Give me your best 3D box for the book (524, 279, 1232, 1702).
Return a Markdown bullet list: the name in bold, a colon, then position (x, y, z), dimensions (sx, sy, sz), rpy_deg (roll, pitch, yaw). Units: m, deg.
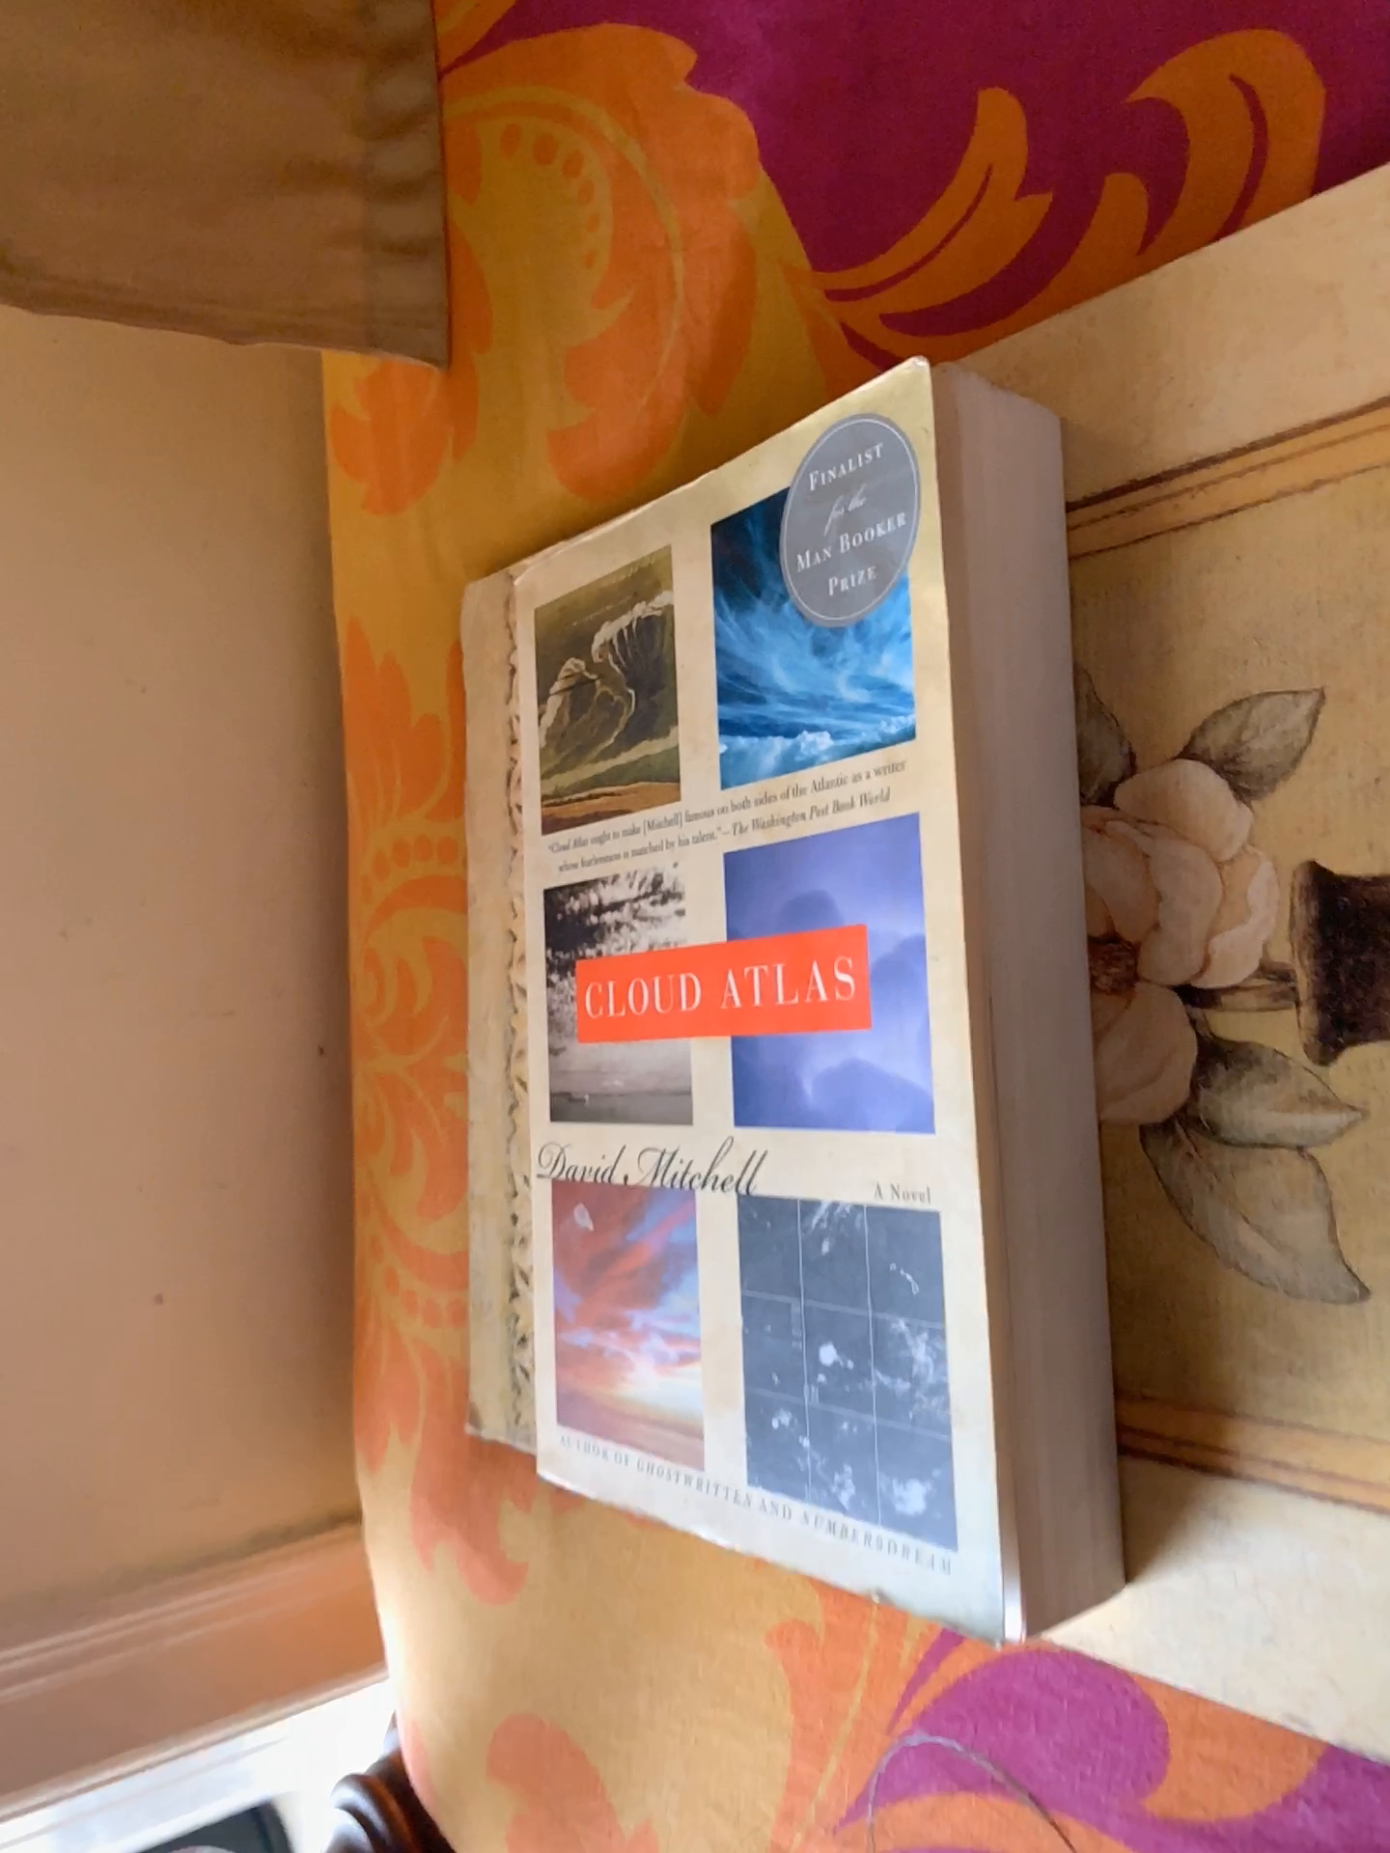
- **book**: position (0.020, 0.010, 0.258), dimensions (0.131, 0.040, 0.190), rpy_deg (-8, 81, 53)
